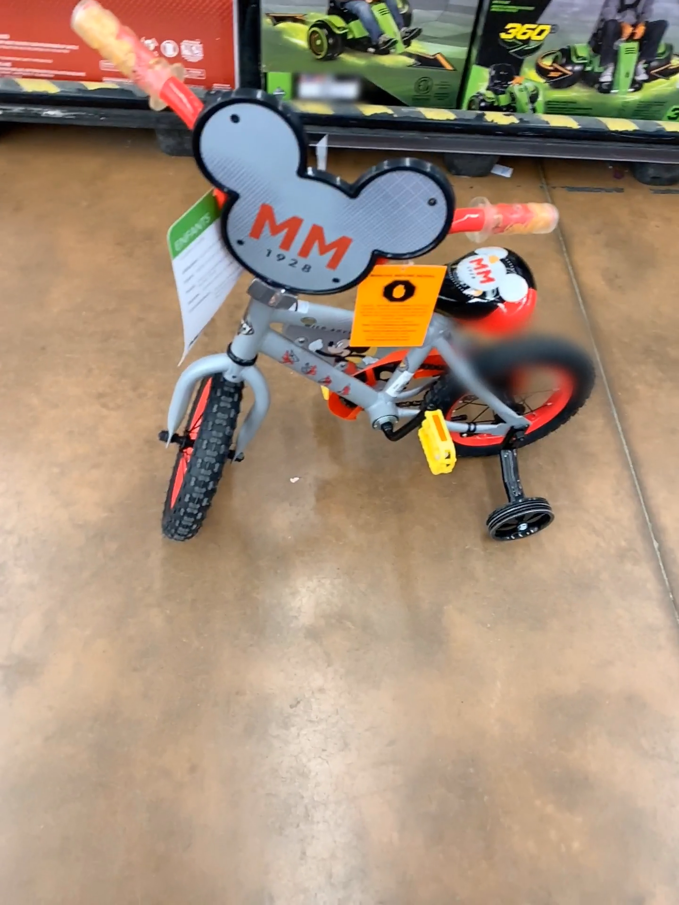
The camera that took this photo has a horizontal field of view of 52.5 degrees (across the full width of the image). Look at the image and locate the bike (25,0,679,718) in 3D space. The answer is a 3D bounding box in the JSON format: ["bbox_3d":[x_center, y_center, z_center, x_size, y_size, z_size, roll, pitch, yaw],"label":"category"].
[{"bbox_3d":[0.083,-0.106,0.906,0.679,0.742,0.449,-19,59,-15],"label":"bike"}]
